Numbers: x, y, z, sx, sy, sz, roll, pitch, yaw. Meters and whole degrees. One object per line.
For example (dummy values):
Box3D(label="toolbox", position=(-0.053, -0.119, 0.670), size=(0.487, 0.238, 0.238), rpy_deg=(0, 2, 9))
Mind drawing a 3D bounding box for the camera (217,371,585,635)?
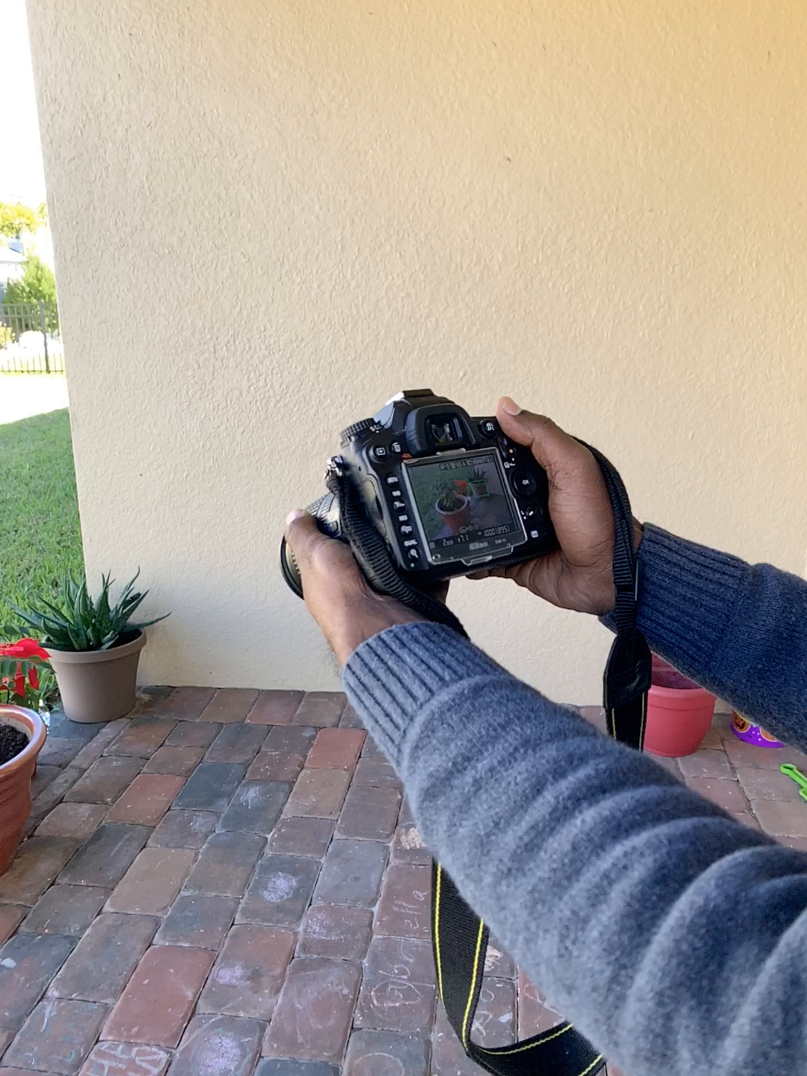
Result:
Box3D(label="camera", position=(-0.013, -0.017, 0.532), size=(0.130, 0.101, 0.199), rpy_deg=(-12, -8, -34))
